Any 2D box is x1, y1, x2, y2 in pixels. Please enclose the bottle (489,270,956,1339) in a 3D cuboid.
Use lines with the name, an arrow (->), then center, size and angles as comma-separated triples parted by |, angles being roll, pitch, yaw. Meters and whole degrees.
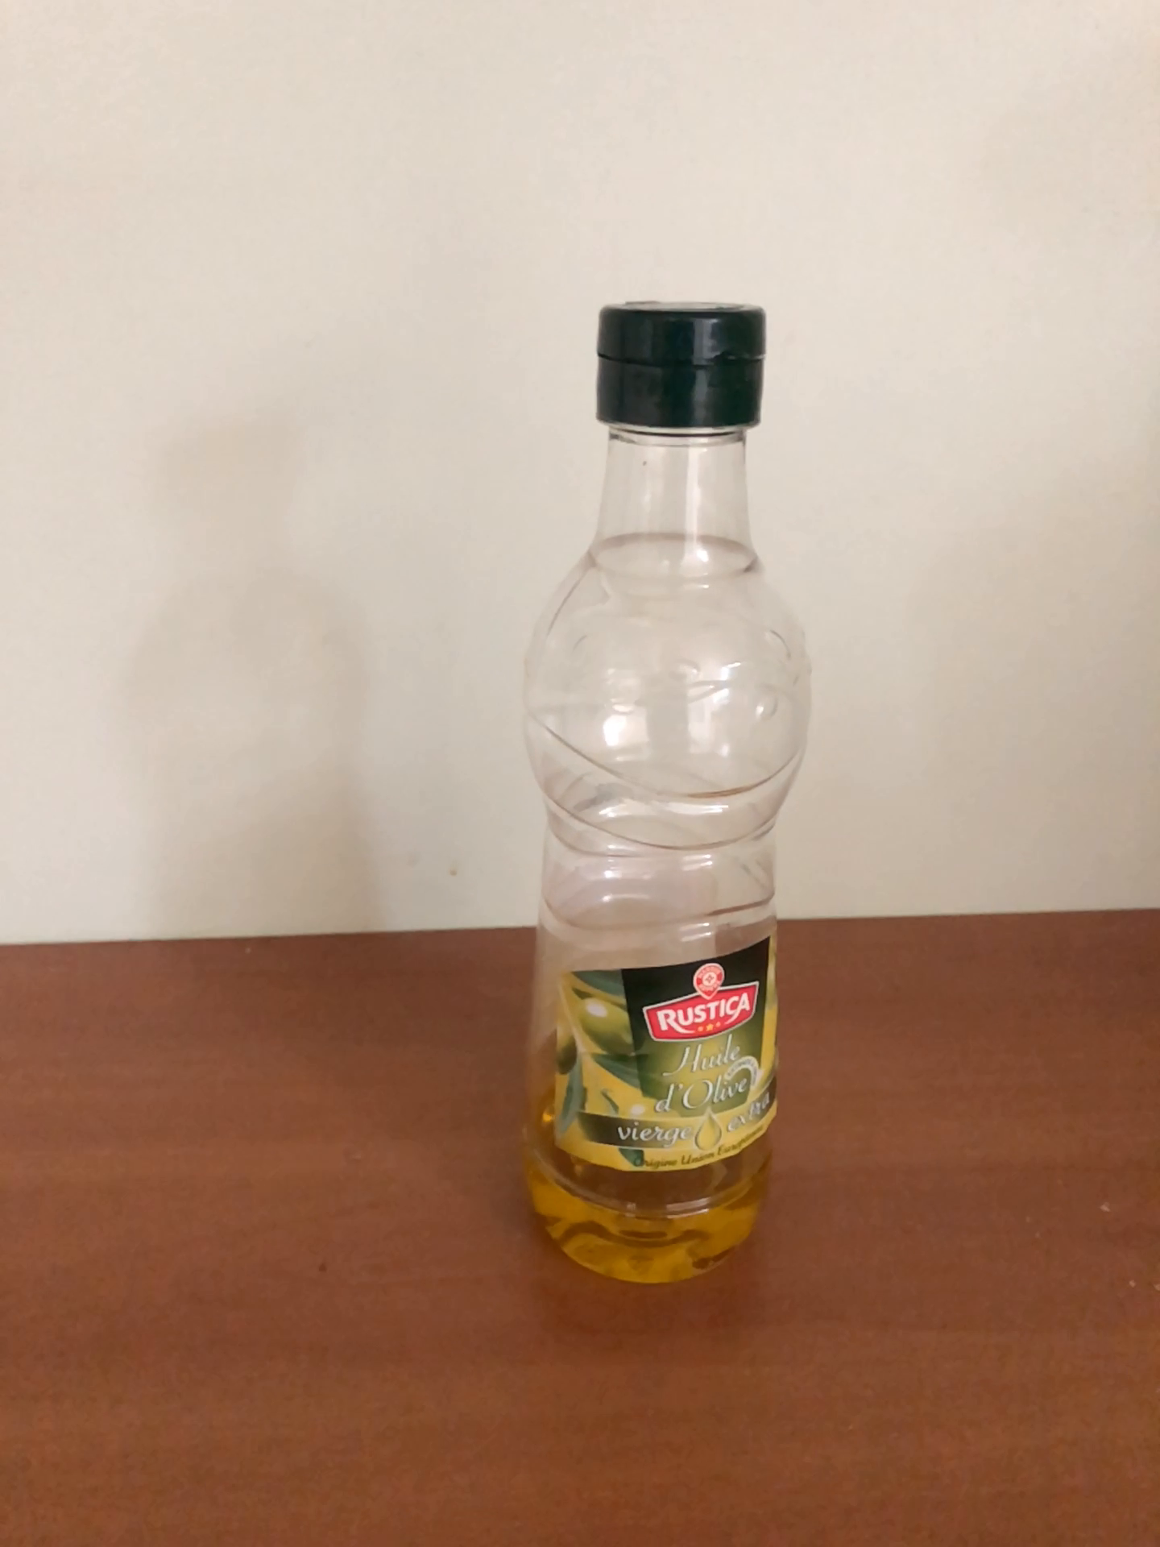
bottle -> 0.023, 0.010, 0.307 | 0.070, 0.239, 0.070 | 1, 24, 0
